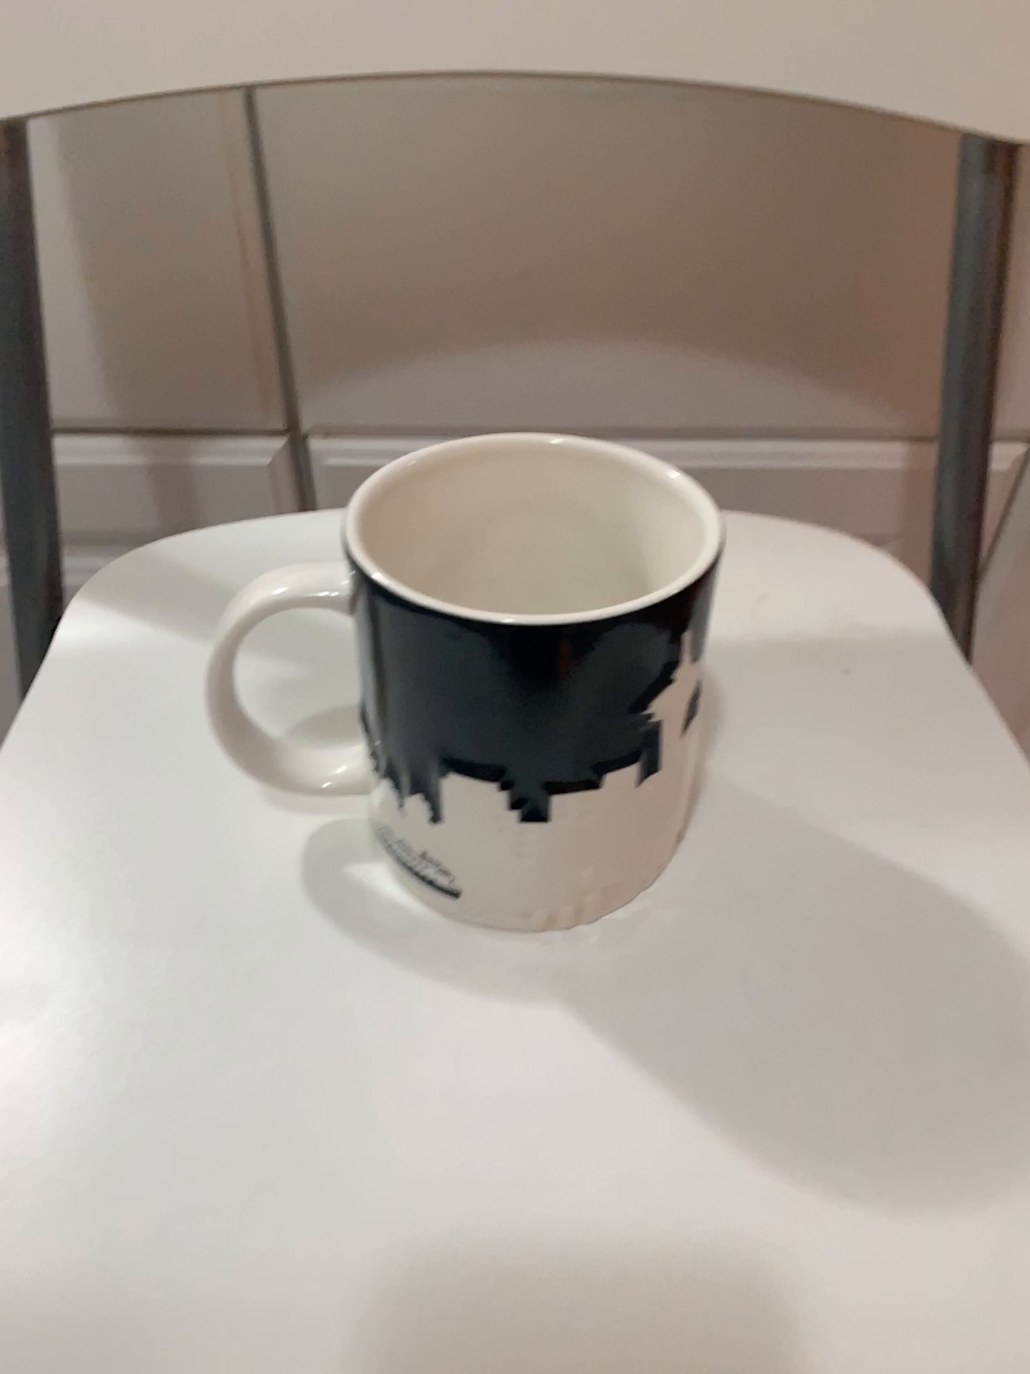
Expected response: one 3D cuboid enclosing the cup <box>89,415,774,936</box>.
[{"bbox_3d":[-0.018,-0.004,0.293,0.143,0.100,0.105,0,44,0],"label":"cup"}]
